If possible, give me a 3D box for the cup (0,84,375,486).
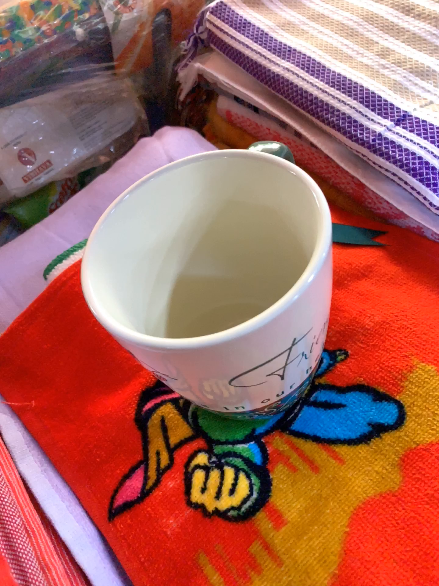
[{"bbox_3d":[0.003,-0.008,0.201,0.100,0.094,0.133,10,60,21],"label":"cup"}]
